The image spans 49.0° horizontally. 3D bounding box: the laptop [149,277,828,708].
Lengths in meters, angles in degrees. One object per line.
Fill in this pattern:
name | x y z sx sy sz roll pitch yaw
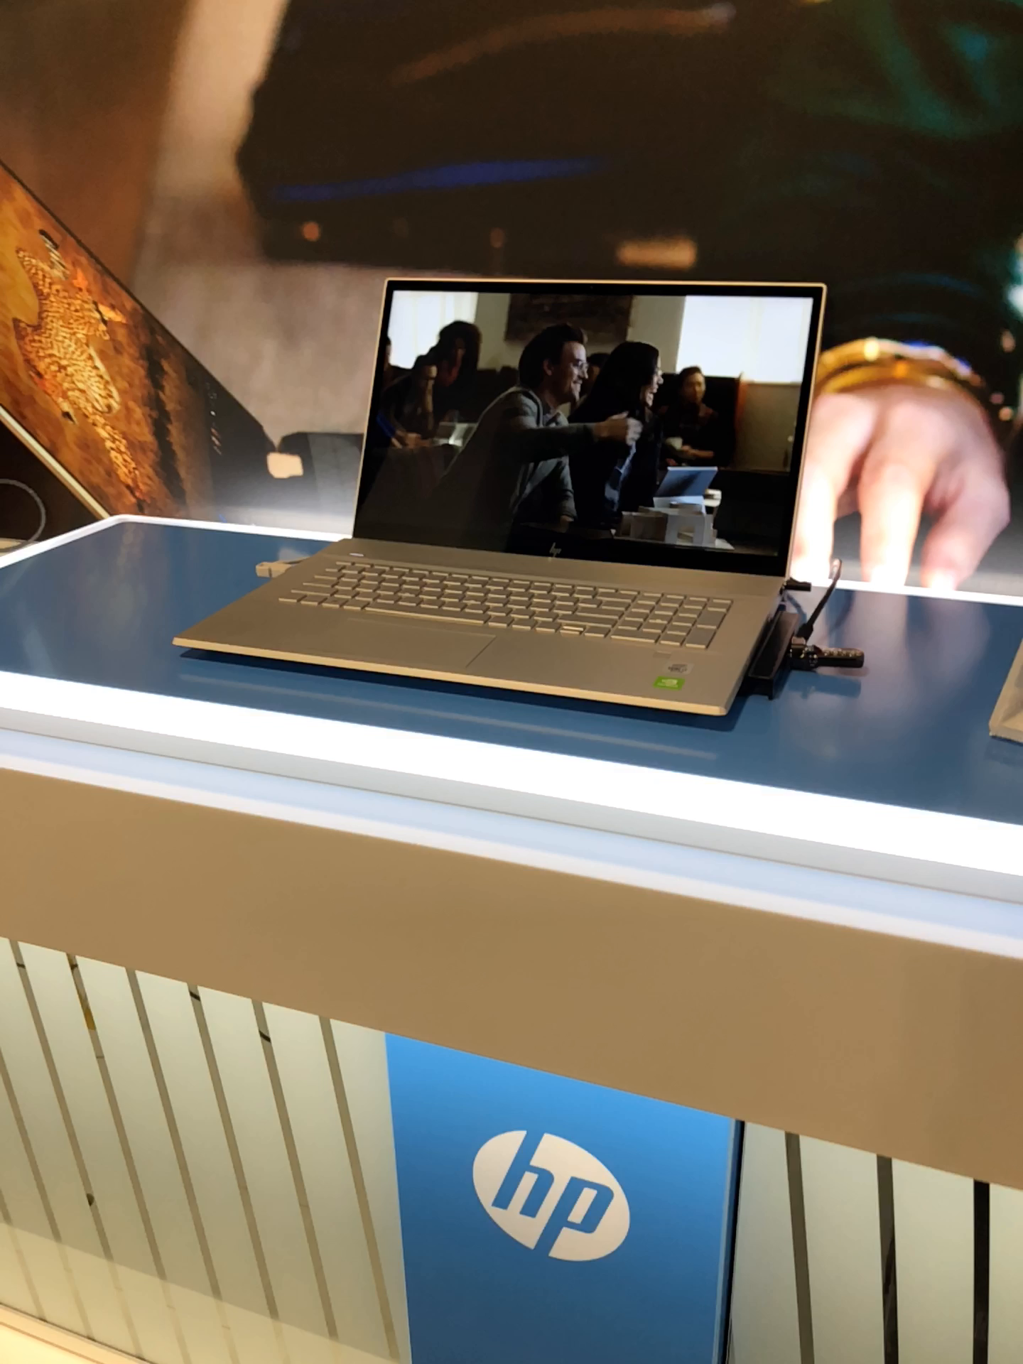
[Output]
laptop | 0.012 -0.186 0.886 0.400 0.217 0.385 7 25 20
